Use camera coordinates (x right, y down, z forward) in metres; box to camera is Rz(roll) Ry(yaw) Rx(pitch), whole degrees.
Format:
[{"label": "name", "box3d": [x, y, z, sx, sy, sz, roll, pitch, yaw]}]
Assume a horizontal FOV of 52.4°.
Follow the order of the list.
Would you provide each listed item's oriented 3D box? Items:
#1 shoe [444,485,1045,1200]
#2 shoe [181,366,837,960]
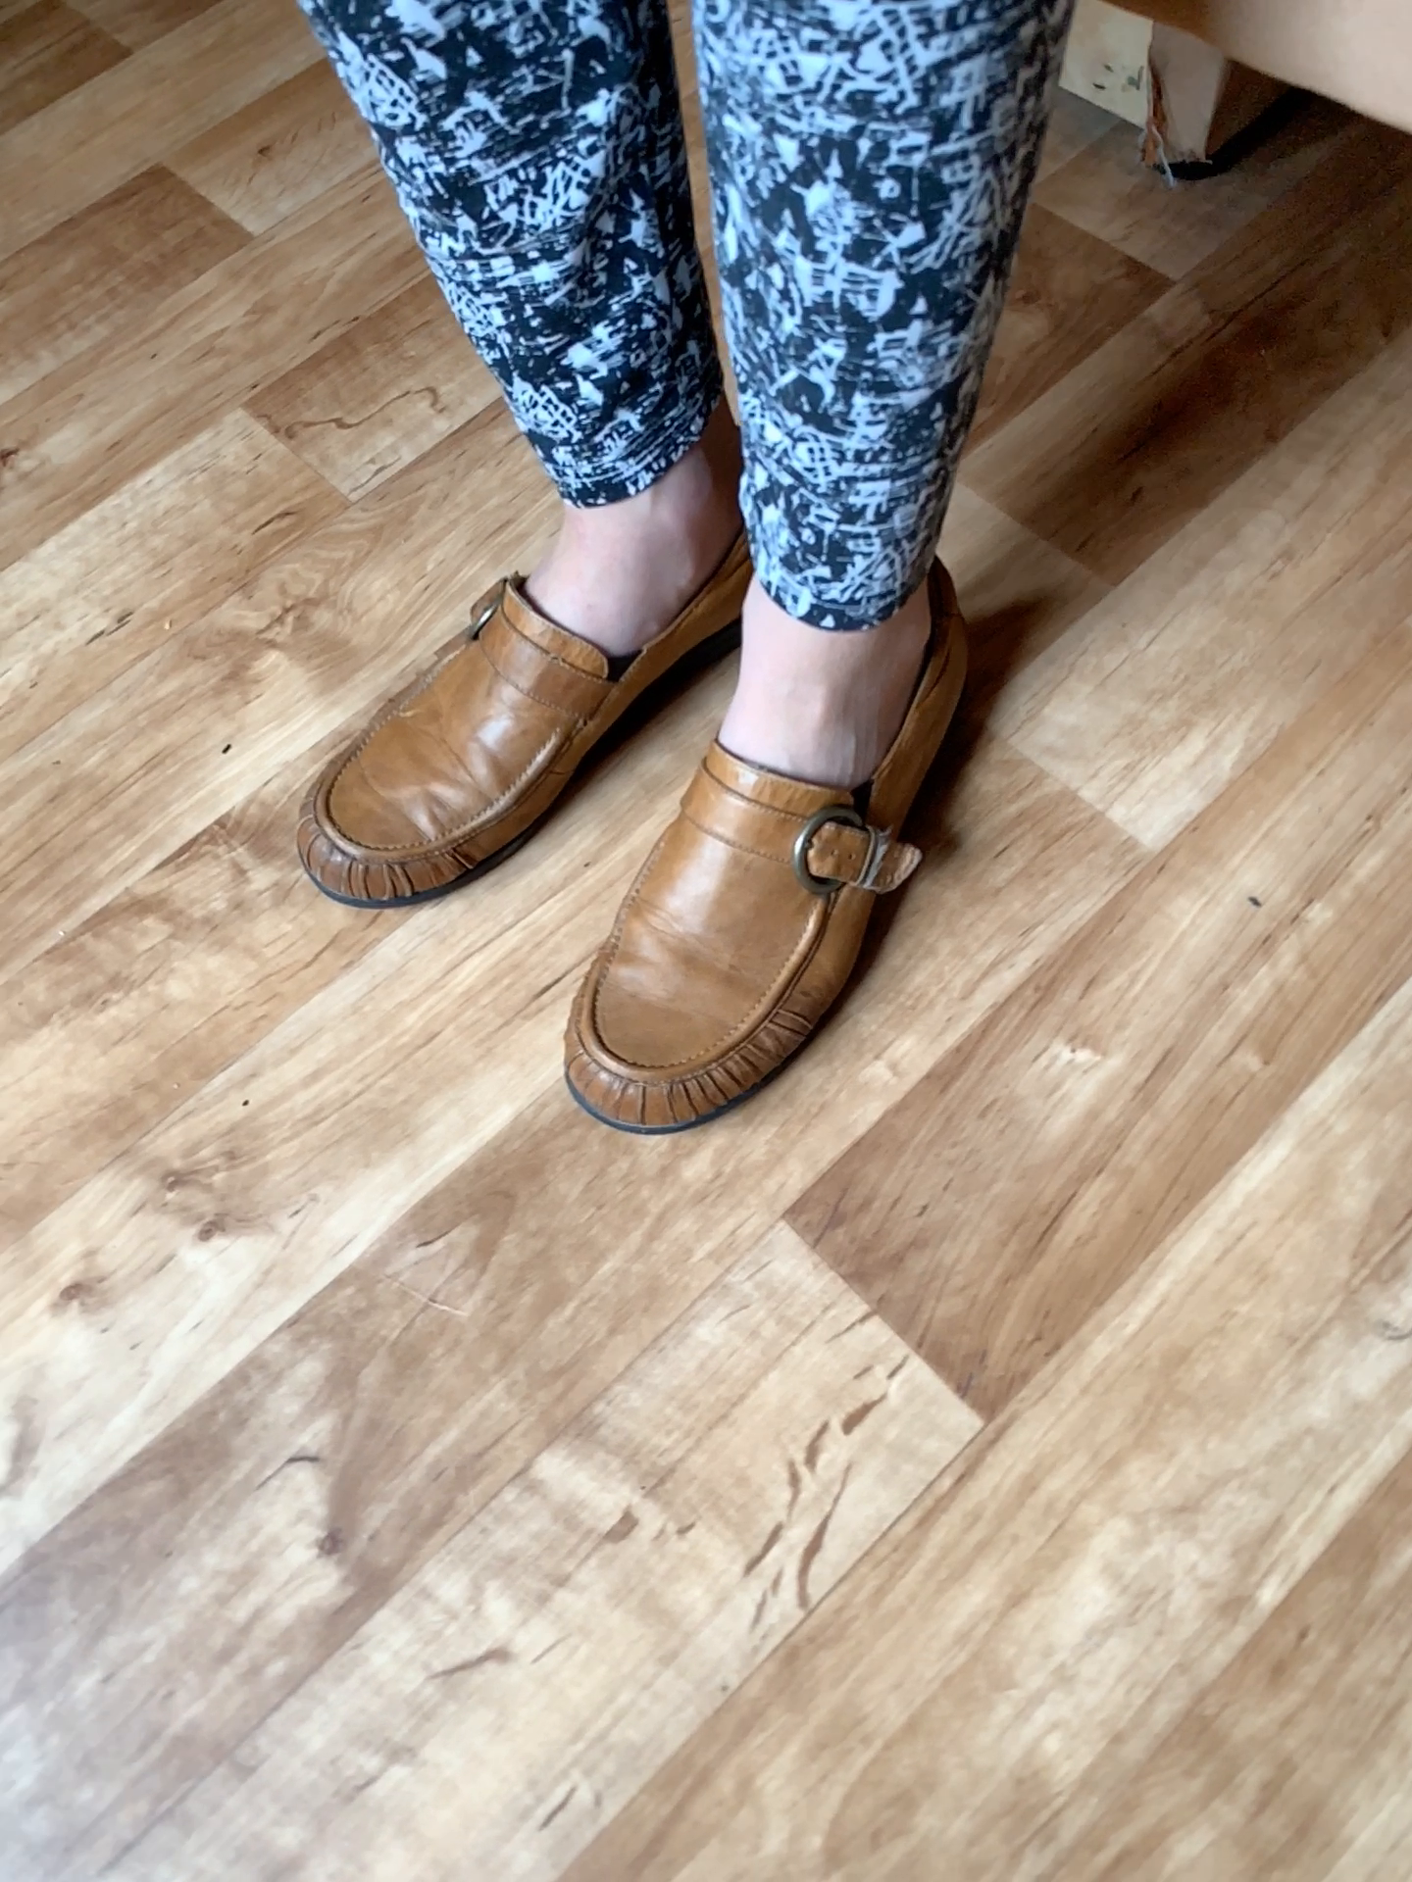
[{"label": "shoe", "box3d": [0.018, -0.033, 0.428, 0.080, 0.070, 0.190, 27, 69, 18]}, {"label": "shoe", "box3d": [-0.057, -0.092, 0.470, 0.190, 0.070, 0.081, -37, 65, -12]}]
